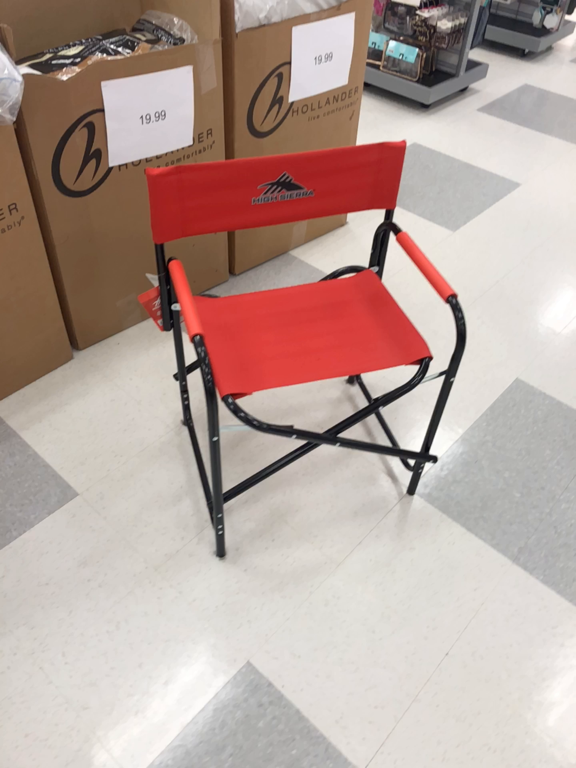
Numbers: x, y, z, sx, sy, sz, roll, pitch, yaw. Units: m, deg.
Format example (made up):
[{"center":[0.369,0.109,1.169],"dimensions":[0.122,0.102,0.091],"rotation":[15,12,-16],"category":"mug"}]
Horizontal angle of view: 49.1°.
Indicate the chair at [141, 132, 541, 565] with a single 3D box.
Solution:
[{"center":[0.054,-0.074,1.411],"dimensions":[0.593,0.729,0.491],"rotation":[-12,47,-15],"category":"chair"}]
